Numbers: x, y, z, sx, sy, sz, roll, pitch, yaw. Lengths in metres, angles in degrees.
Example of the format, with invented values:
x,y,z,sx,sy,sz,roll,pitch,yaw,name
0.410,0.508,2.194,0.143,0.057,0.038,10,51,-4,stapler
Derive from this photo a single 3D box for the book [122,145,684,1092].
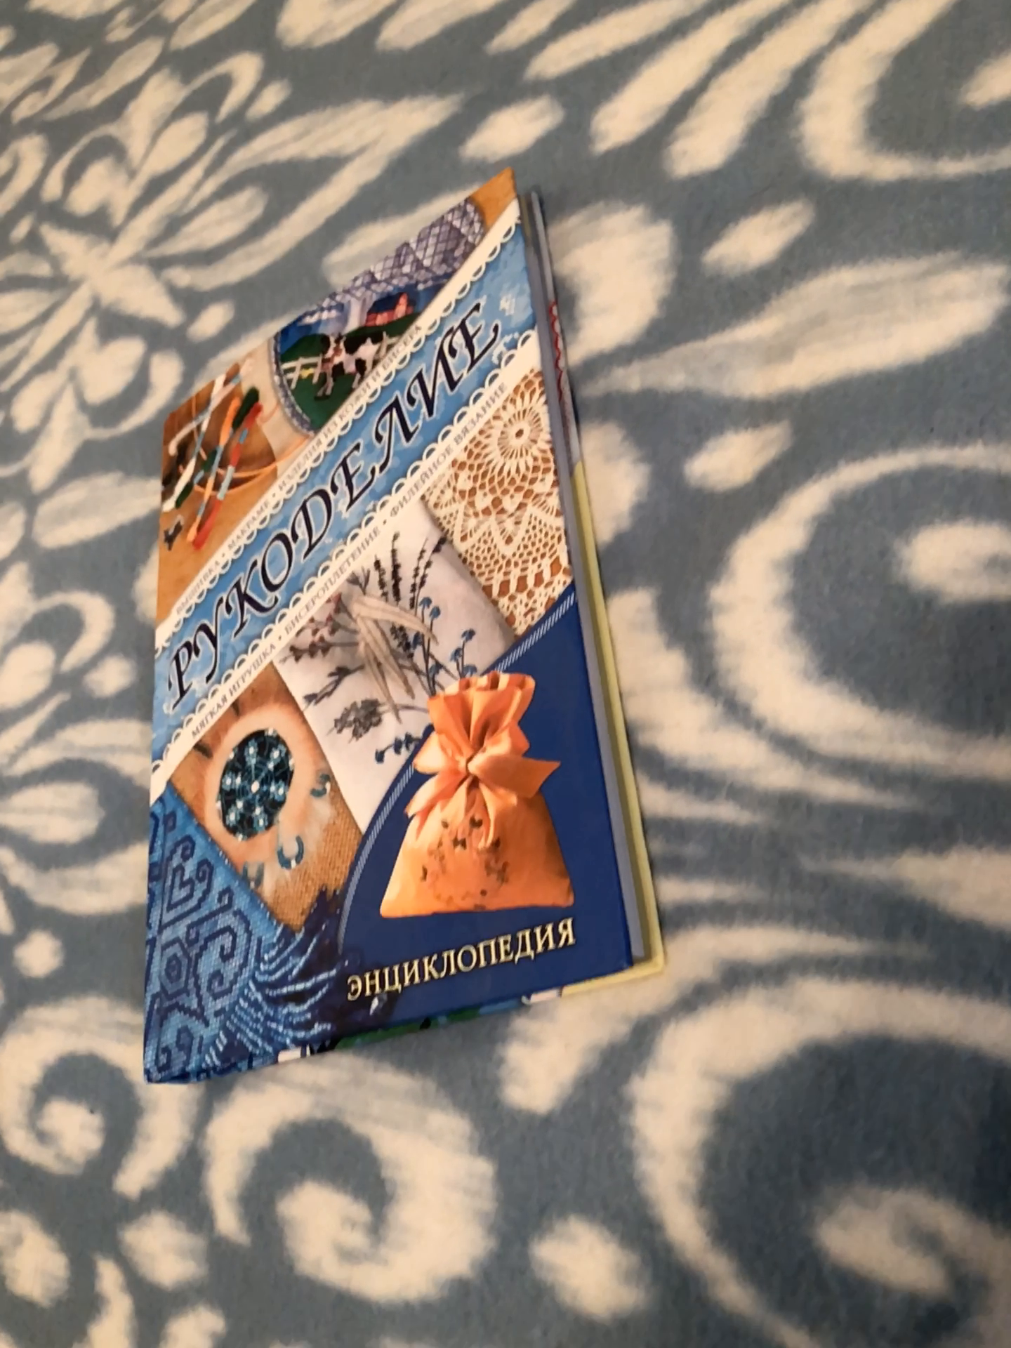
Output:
x,y,z,sx,sy,sz,roll,pitch,yaw,name
-0.047,-0.016,0.327,0.169,0.020,0.238,-24,60,31,book
